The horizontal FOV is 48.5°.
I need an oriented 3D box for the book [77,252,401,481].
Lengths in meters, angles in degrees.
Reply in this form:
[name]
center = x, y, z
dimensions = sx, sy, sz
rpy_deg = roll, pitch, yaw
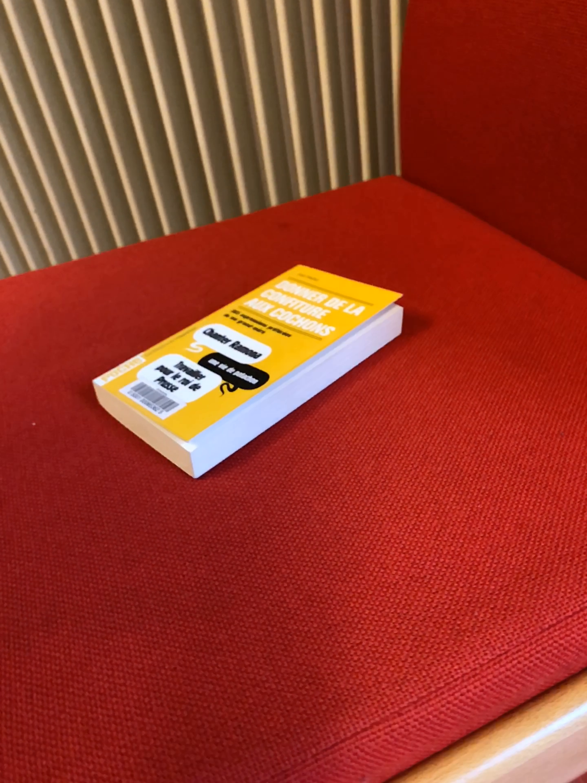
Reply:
[book]
center = -0.029, -0.028, 0.420
dimensions = 0.181, 0.030, 0.107
rpy_deg = -34, 46, -31
